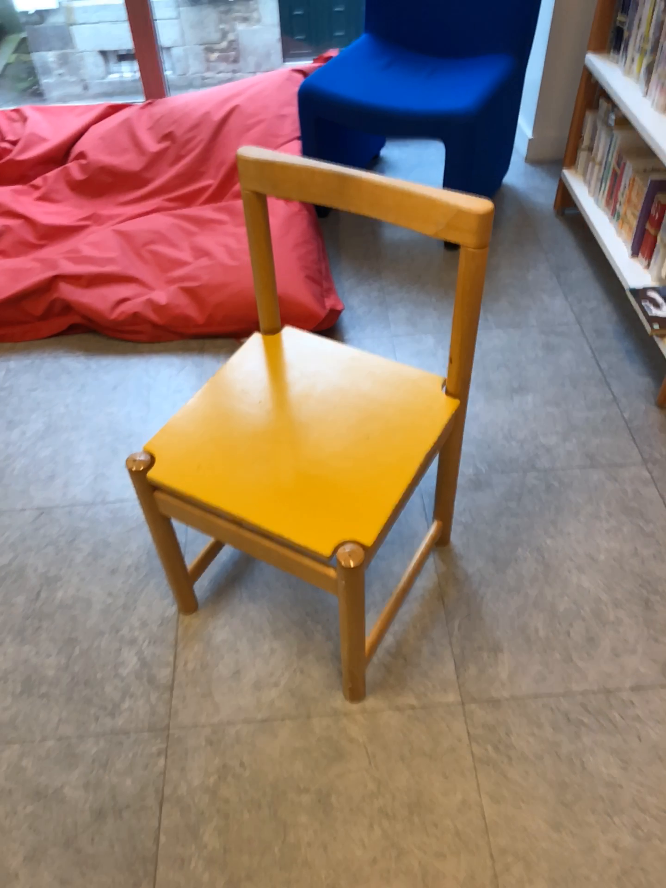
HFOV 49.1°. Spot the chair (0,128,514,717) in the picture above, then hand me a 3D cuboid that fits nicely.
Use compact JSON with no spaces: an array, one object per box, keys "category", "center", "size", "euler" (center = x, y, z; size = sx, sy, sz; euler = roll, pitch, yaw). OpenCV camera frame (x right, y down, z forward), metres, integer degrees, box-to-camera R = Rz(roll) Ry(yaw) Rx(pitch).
[{"category":"chair","center":[-0.066,-0.016,1.094],"size":[0.450,0.667,0.422],"euler":[21,51,20]}]
